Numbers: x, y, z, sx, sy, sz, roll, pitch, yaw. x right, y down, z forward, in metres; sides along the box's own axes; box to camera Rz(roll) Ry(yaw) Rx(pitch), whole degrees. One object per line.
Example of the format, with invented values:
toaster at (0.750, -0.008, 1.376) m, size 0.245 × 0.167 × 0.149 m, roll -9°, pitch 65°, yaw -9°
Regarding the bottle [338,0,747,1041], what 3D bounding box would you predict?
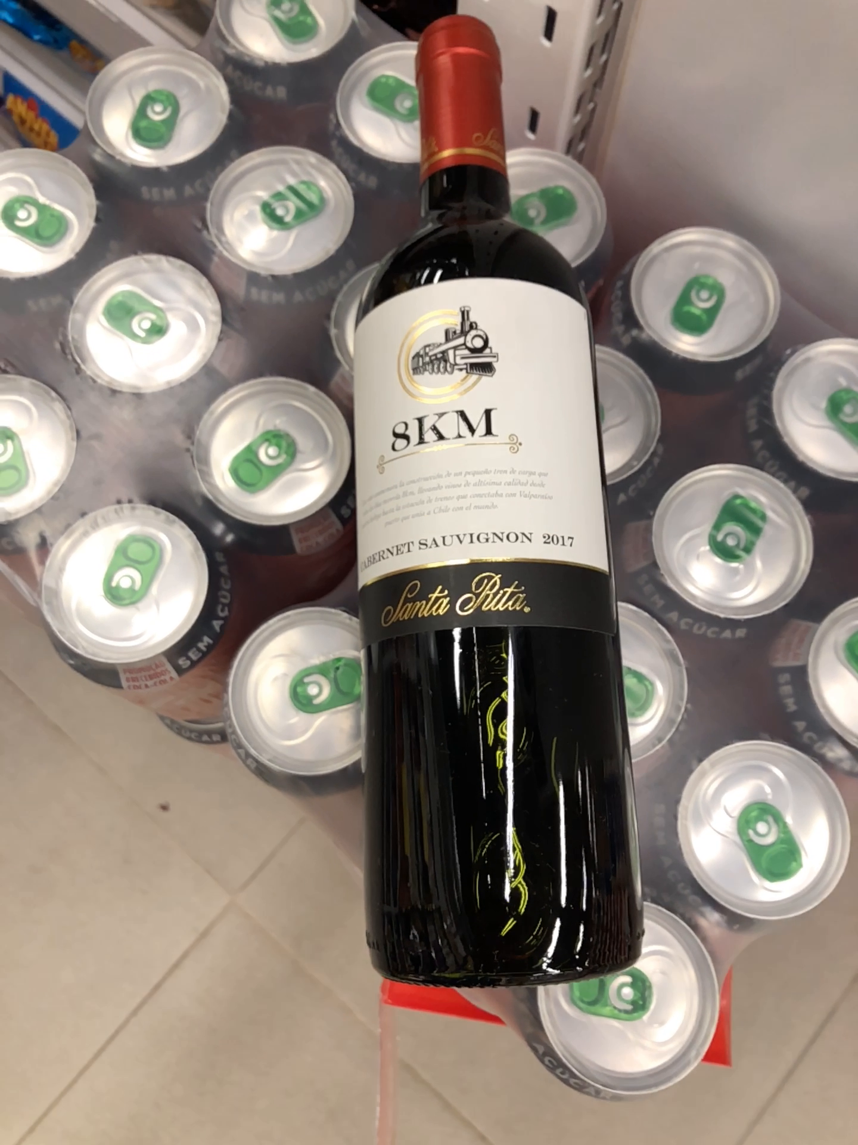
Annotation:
bottle at (0.020, -0.049, 0.277) m, size 0.080 × 0.070 × 0.320 m, roll -2°, pitch 75°, yaw -2°
